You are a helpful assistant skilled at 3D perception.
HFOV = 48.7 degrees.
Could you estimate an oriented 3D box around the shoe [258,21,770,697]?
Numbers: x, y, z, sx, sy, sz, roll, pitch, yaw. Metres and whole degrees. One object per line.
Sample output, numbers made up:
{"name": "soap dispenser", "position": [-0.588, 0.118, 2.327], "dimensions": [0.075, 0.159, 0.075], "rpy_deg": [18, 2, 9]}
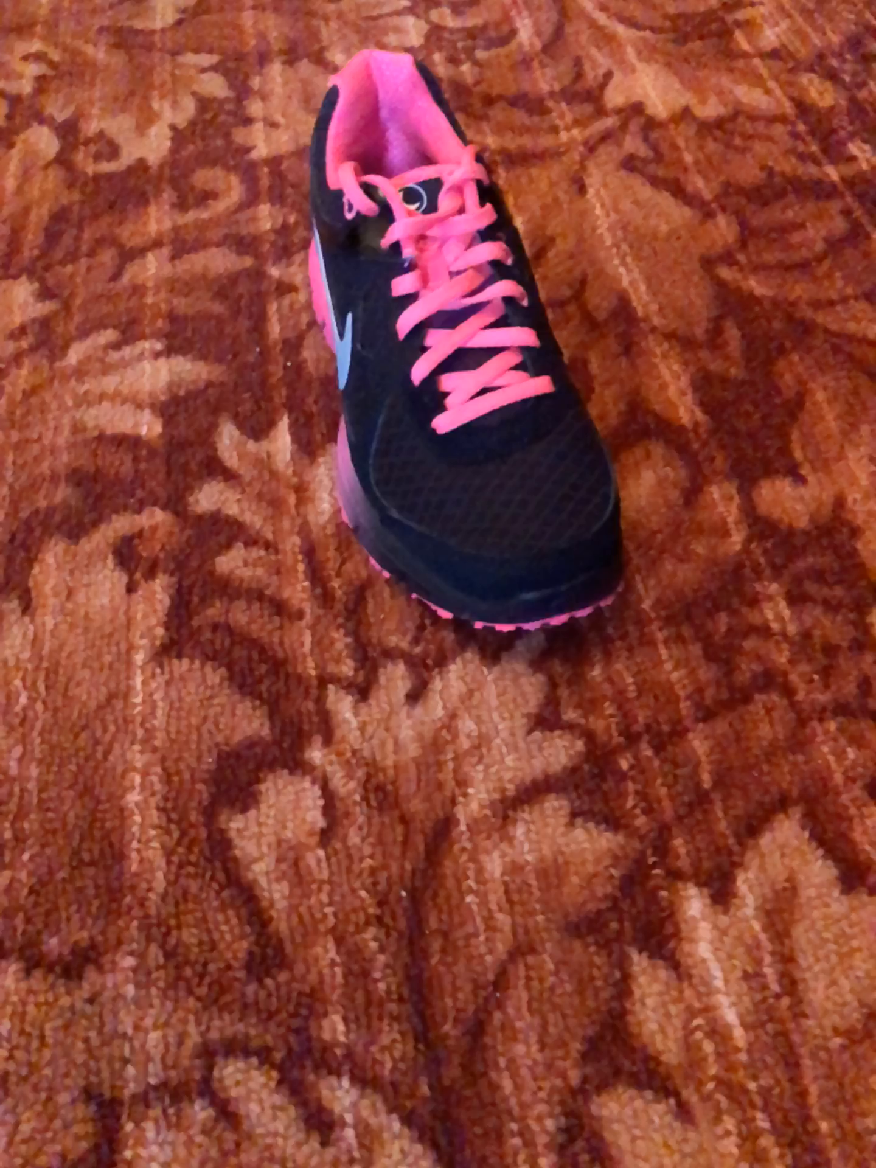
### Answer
{"name": "shoe", "position": [0.009, -0.100, 0.373], "dimensions": [0.110, 0.100, 0.251], "rpy_deg": [-11, 55, -8]}
